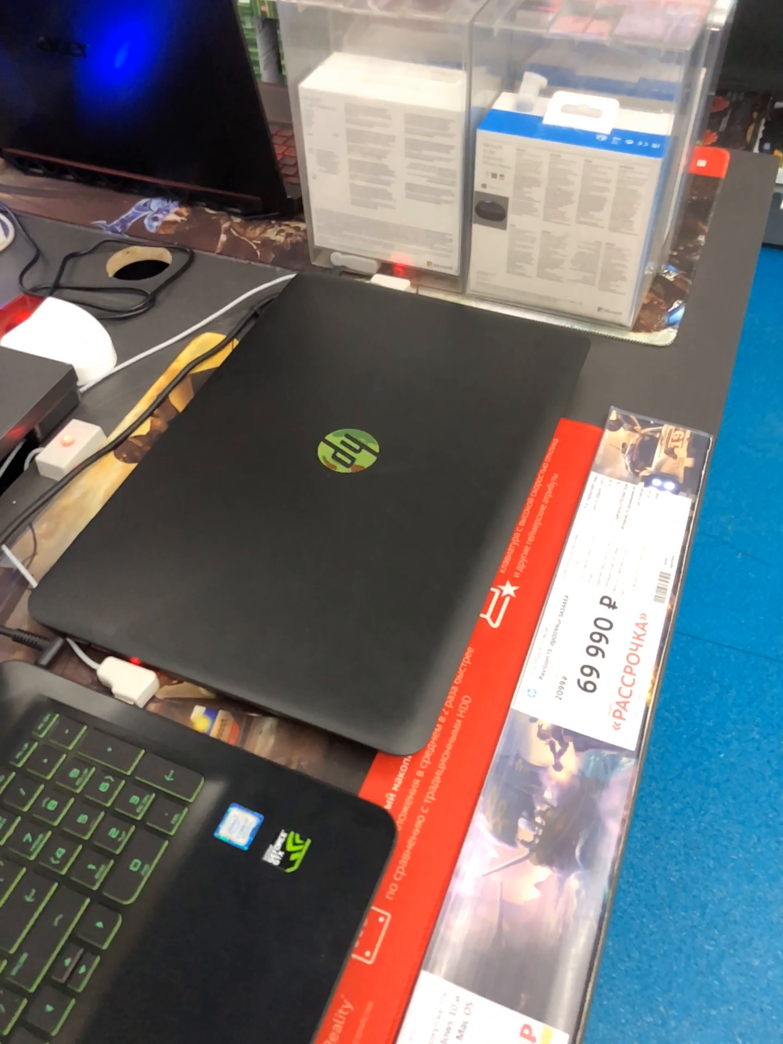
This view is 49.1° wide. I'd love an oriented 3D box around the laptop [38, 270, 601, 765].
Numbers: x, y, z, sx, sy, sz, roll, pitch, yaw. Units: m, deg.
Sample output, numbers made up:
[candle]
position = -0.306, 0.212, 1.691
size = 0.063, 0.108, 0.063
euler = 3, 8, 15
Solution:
[laptop]
position = -0.022, -0.043, 0.578
size = 0.239, 0.006, 0.373
euler = 17, 52, 15
